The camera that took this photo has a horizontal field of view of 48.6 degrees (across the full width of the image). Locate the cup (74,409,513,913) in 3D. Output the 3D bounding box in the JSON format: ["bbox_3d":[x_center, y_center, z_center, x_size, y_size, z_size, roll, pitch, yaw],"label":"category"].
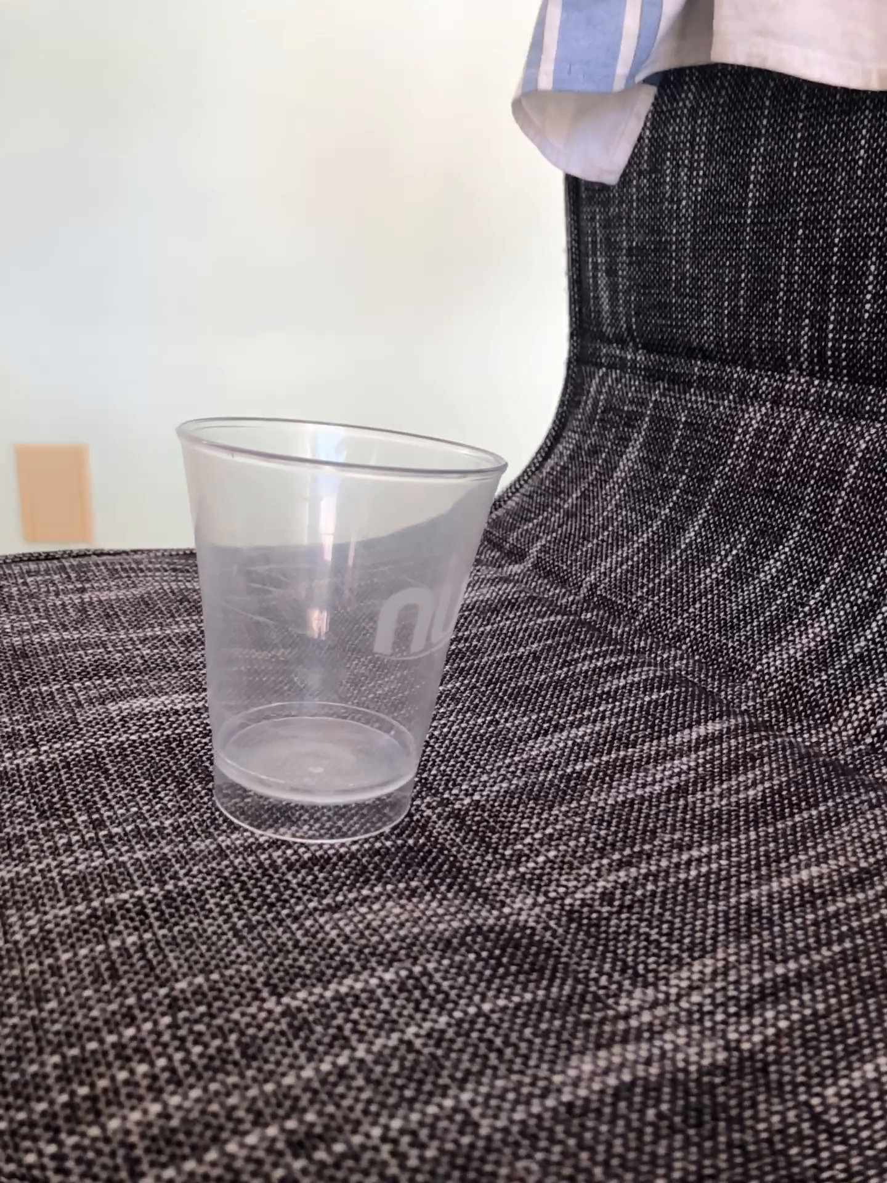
[{"bbox_3d":[-0.036,0.009,0.258,0.080,0.100,0.080,6,14,-2],"label":"cup"}]
